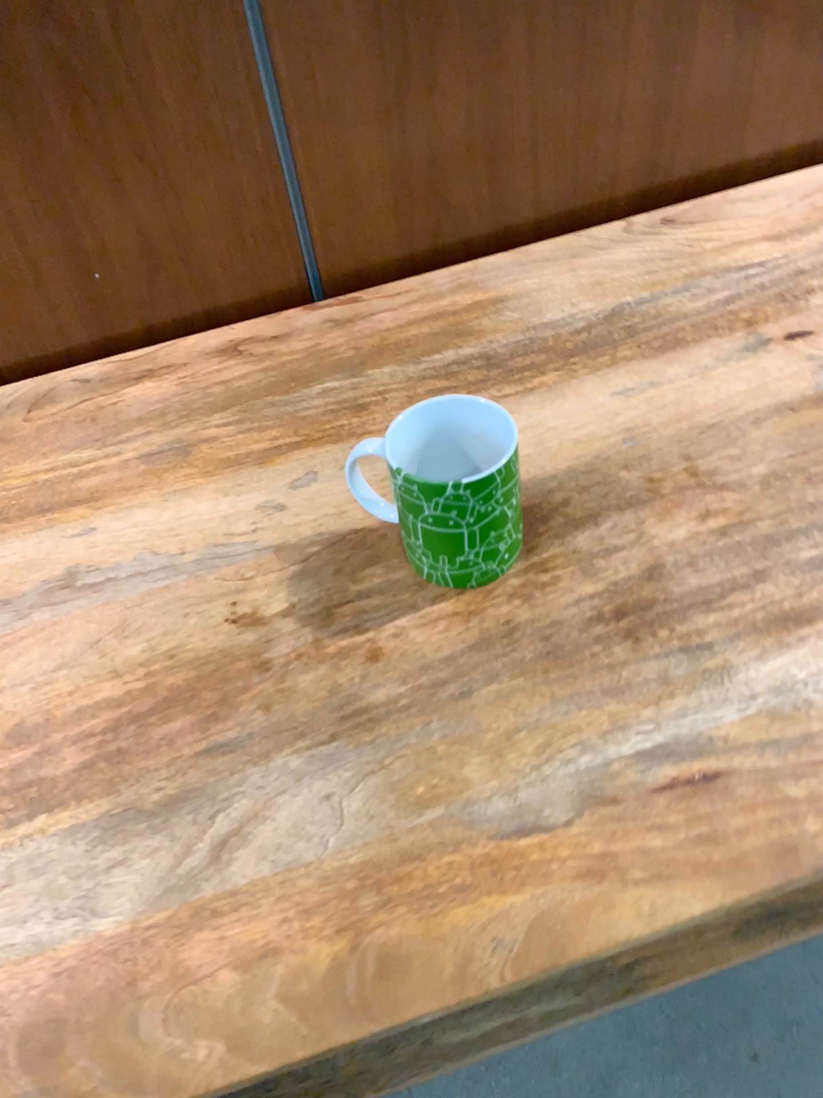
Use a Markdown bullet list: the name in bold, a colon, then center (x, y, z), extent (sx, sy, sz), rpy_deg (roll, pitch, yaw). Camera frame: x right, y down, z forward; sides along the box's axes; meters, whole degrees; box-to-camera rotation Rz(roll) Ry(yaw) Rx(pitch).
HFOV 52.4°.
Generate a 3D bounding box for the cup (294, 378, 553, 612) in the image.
- **cup**: center (0.013, -0.039, 0.544), extent (0.130, 0.080, 0.100), rpy_deg (15, 52, 22)
